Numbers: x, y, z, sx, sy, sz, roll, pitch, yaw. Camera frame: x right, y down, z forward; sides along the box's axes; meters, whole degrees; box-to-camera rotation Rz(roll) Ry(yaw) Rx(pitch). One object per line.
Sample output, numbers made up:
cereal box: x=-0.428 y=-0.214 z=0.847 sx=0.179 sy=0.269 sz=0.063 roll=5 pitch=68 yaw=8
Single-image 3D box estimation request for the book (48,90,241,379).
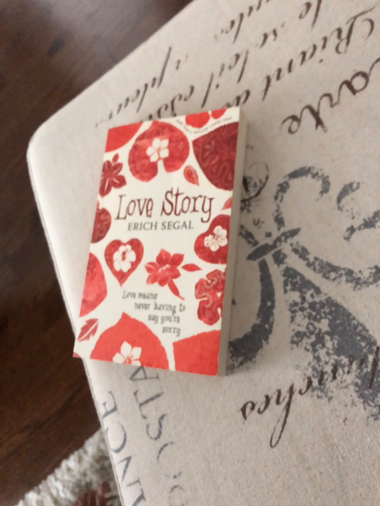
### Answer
book: x=-0.031 y=-0.016 z=0.302 sx=0.120 sy=0.020 sz=0.188 roll=-1 pitch=76 yaw=25
